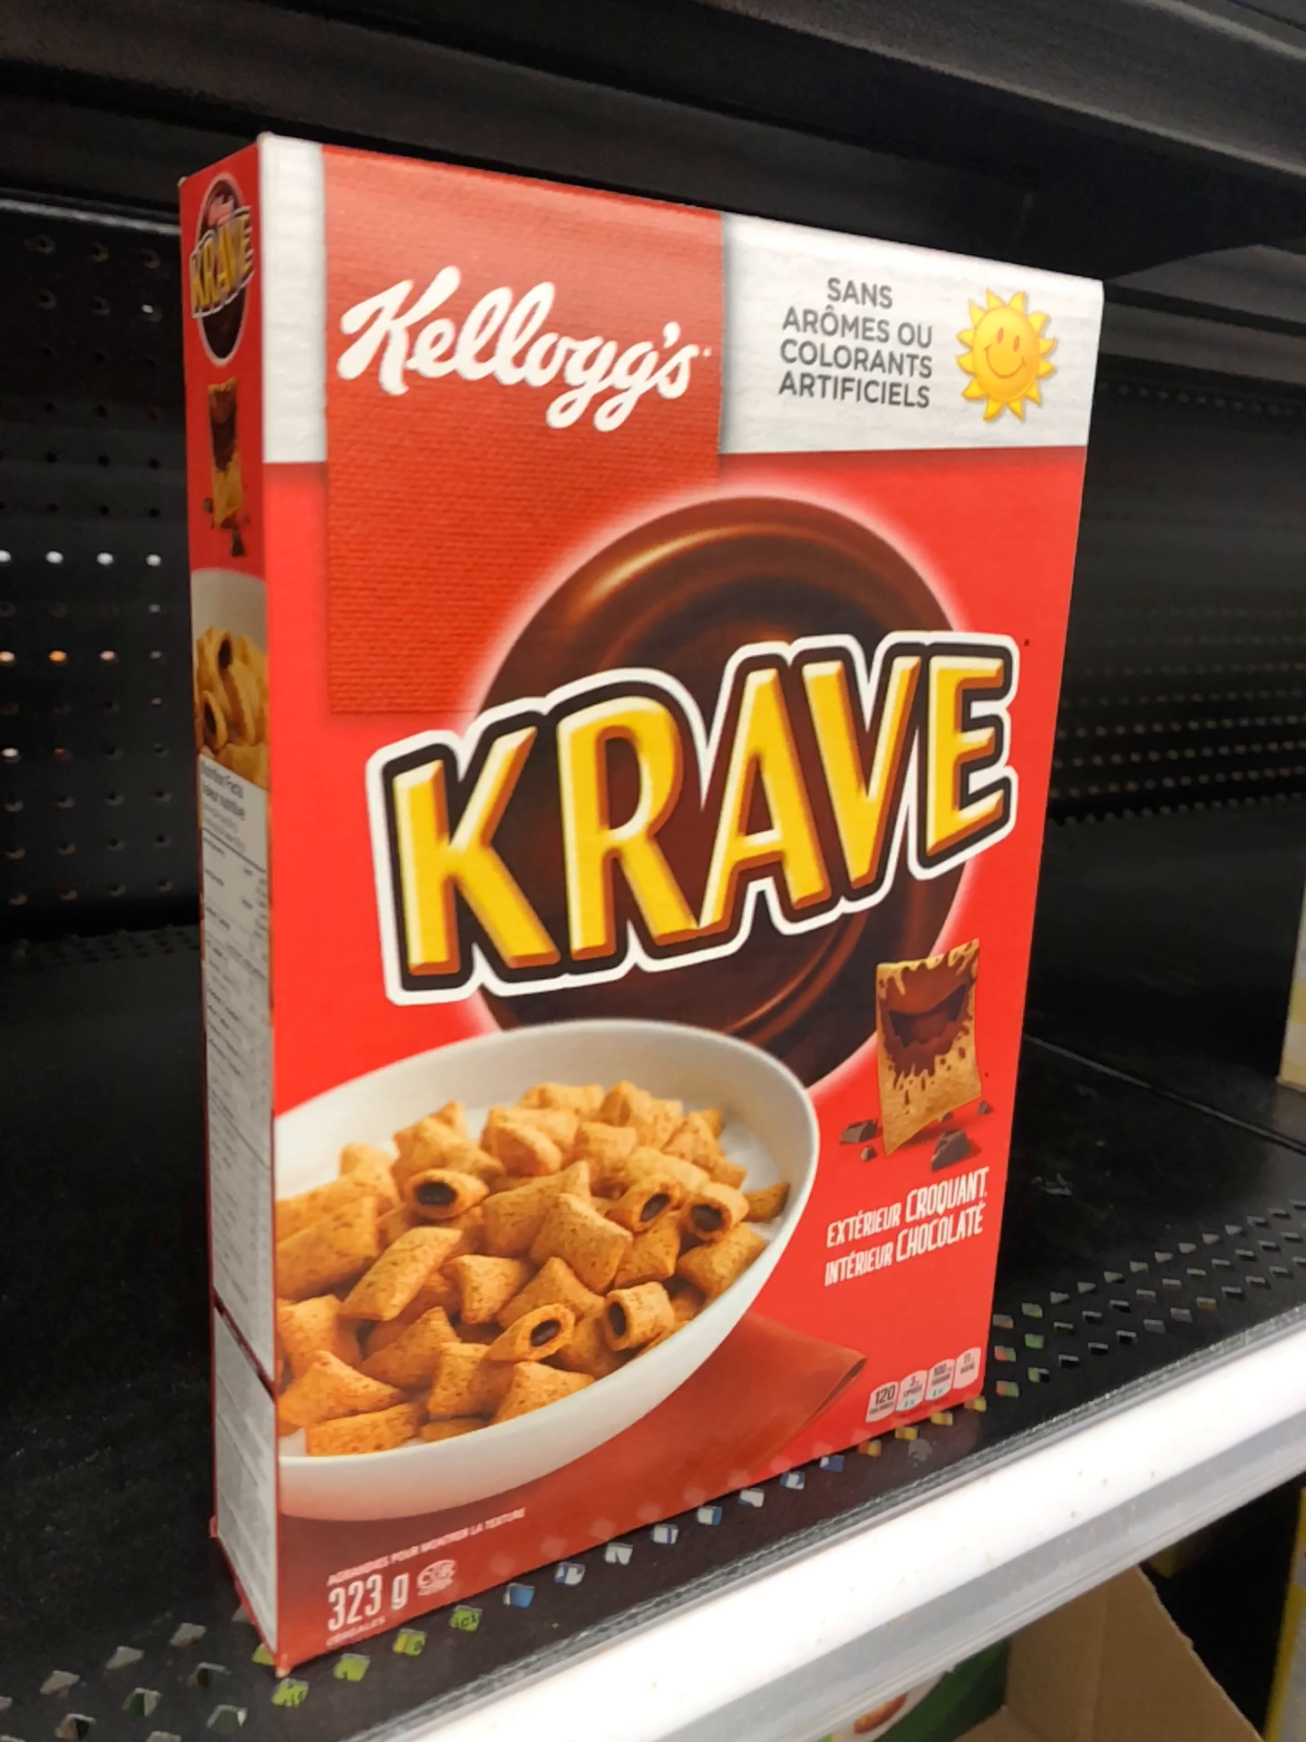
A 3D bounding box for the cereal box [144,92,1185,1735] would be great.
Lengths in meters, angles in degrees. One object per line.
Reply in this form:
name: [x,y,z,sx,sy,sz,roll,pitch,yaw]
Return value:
cereal box: [0.008,0.010,0.314,0.210,0.279,0.050,-5,15,-32]
